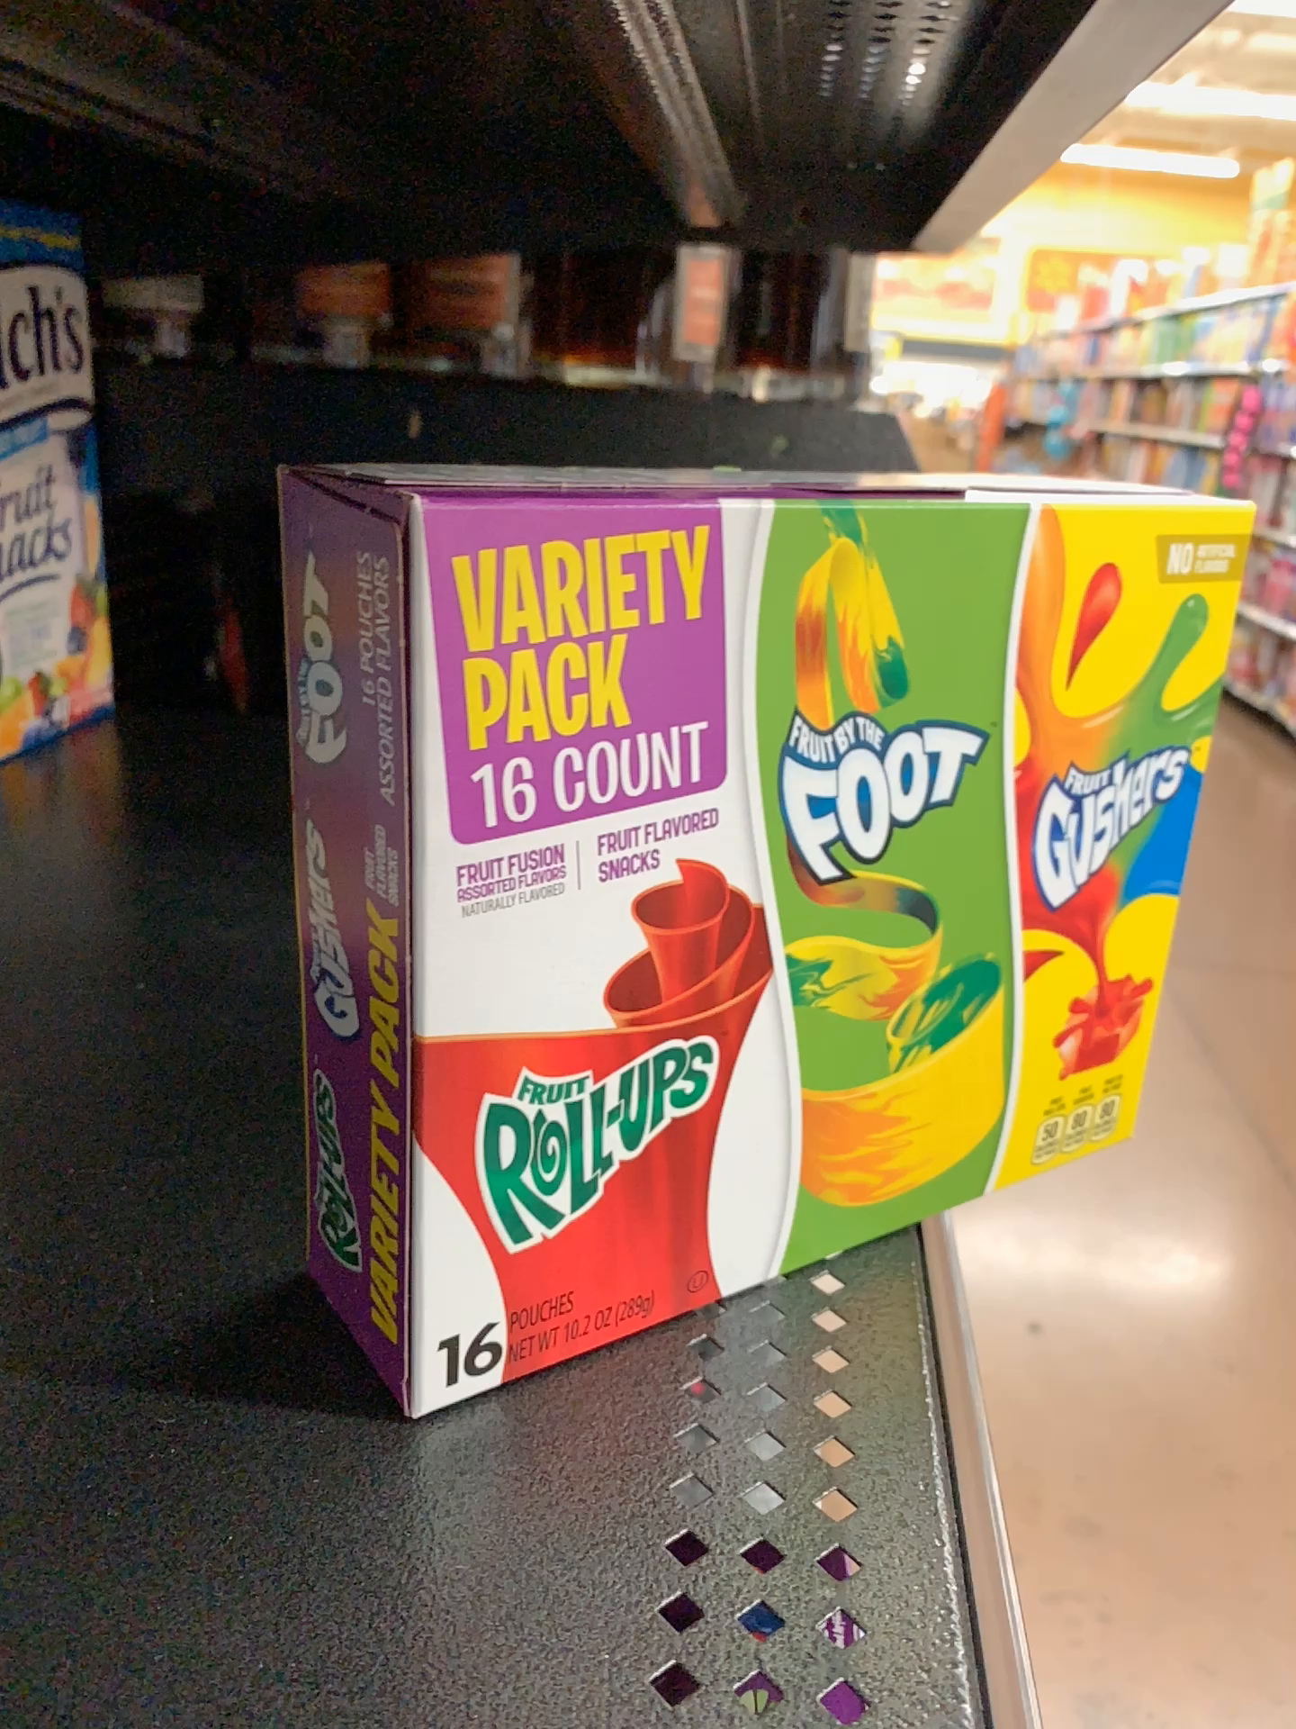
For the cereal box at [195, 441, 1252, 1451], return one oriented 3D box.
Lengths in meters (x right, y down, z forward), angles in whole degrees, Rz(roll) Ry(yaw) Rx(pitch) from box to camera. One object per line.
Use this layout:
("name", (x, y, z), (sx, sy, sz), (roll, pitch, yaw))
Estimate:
("cereal box", (0.024, 0.001, 0.299), (0.220, 0.169, 0.060), (-9, 23, -33))
